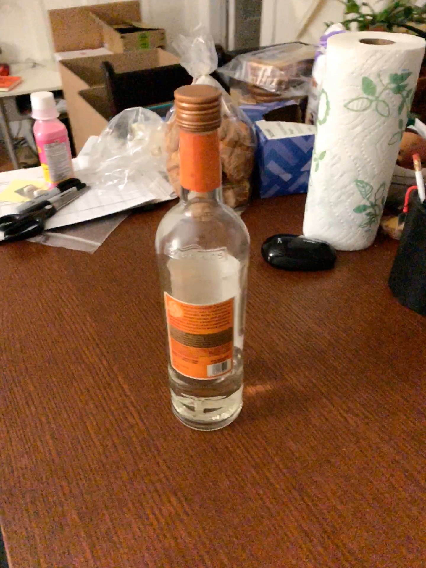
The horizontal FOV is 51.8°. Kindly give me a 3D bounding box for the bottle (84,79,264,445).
[{"bbox_3d":[-0.018,0.005,0.358,0.090,0.298,0.080,8,39,10],"label":"bottle"}]
